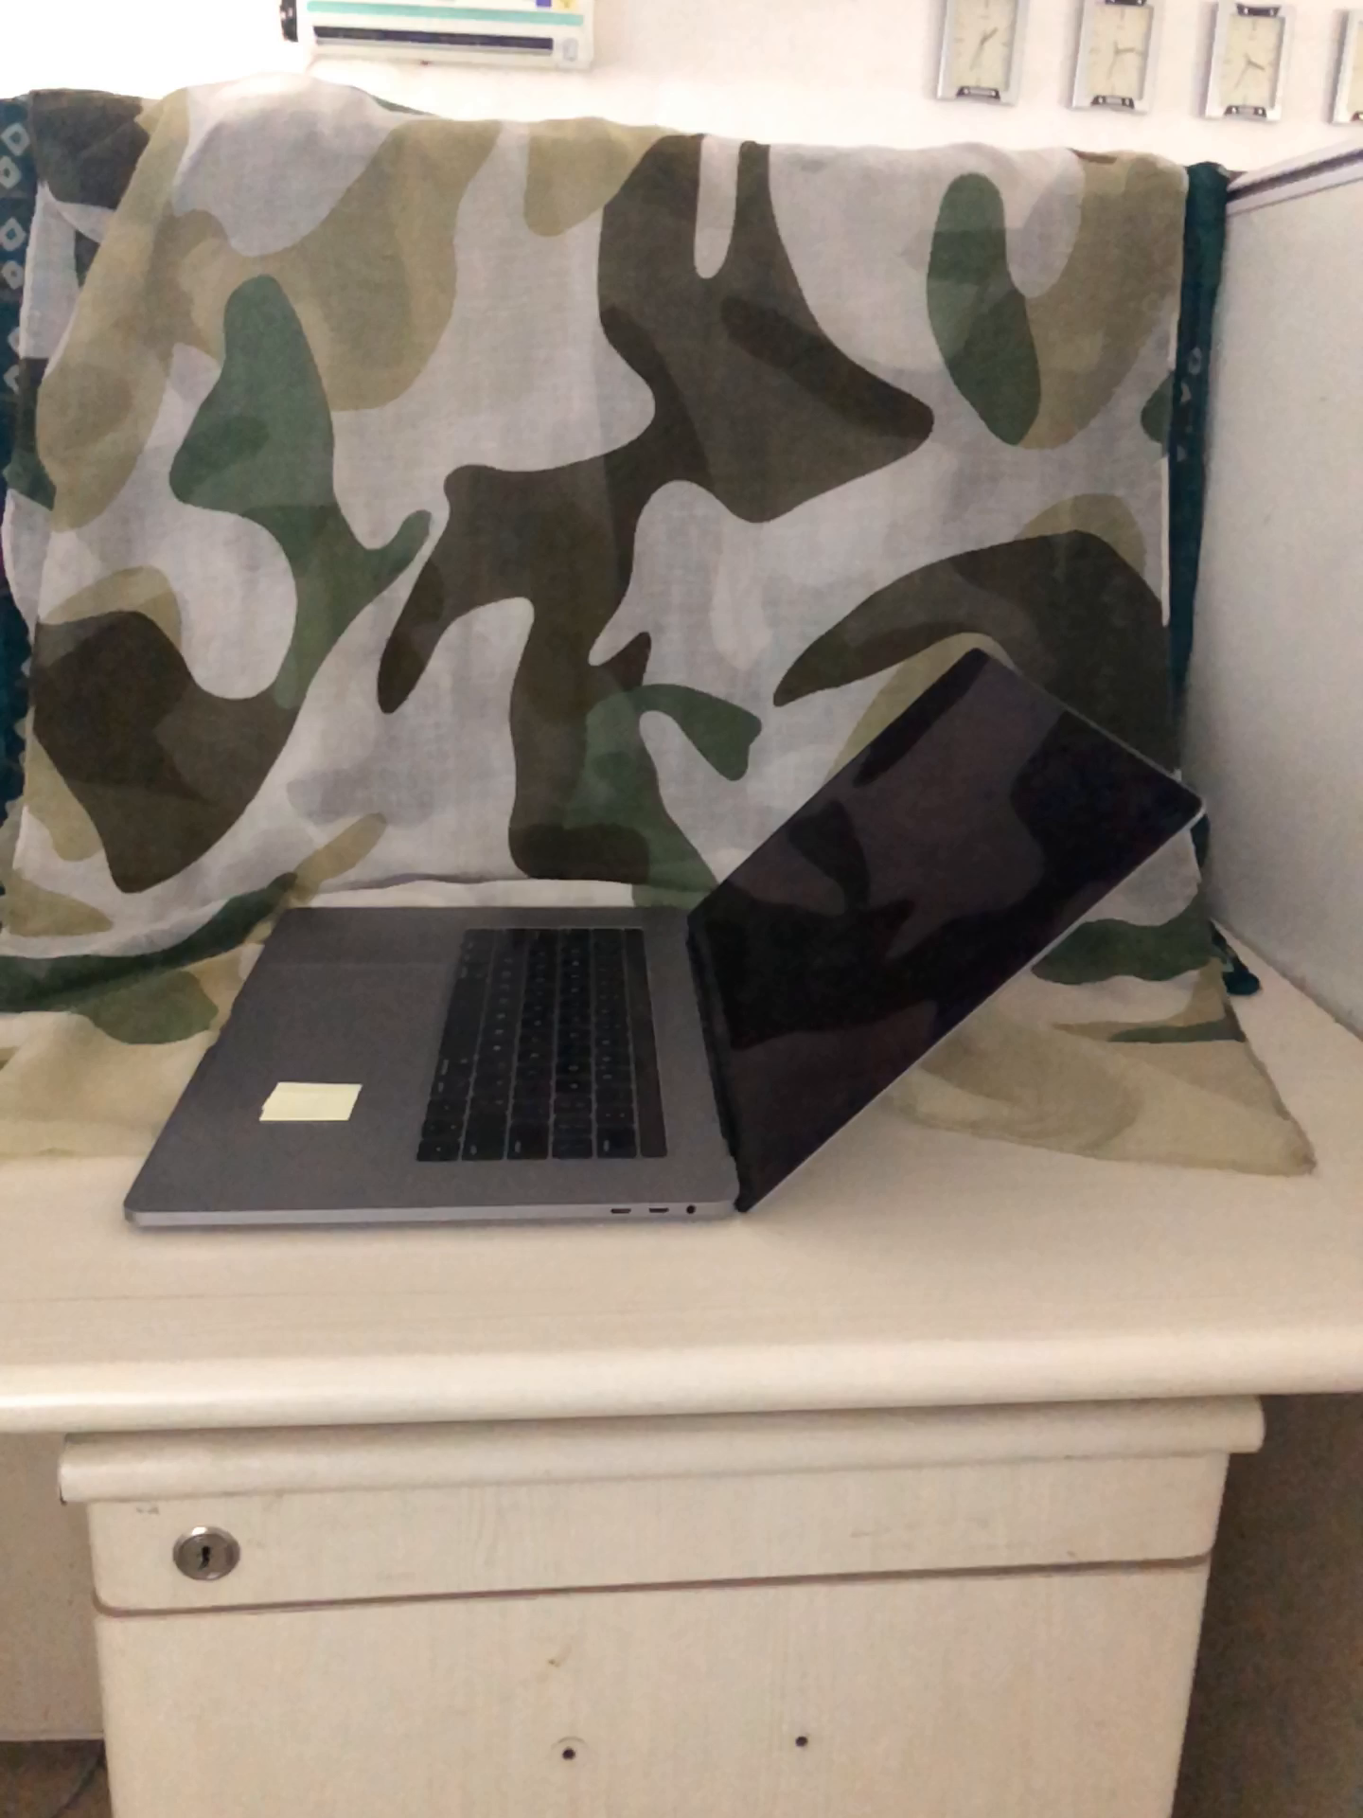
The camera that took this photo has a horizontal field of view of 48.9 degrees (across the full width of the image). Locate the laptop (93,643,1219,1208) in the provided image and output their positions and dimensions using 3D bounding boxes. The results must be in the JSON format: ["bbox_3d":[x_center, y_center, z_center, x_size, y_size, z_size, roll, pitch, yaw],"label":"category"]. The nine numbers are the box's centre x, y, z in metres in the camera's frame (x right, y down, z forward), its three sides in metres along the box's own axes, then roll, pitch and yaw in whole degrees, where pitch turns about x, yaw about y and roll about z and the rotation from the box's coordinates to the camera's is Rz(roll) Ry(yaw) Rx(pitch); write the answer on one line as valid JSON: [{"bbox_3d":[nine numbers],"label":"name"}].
[{"bbox_3d":[-0.020,-0.019,0.721,0.402,0.166,0.342,0,18,-4],"label":"laptop"}]
